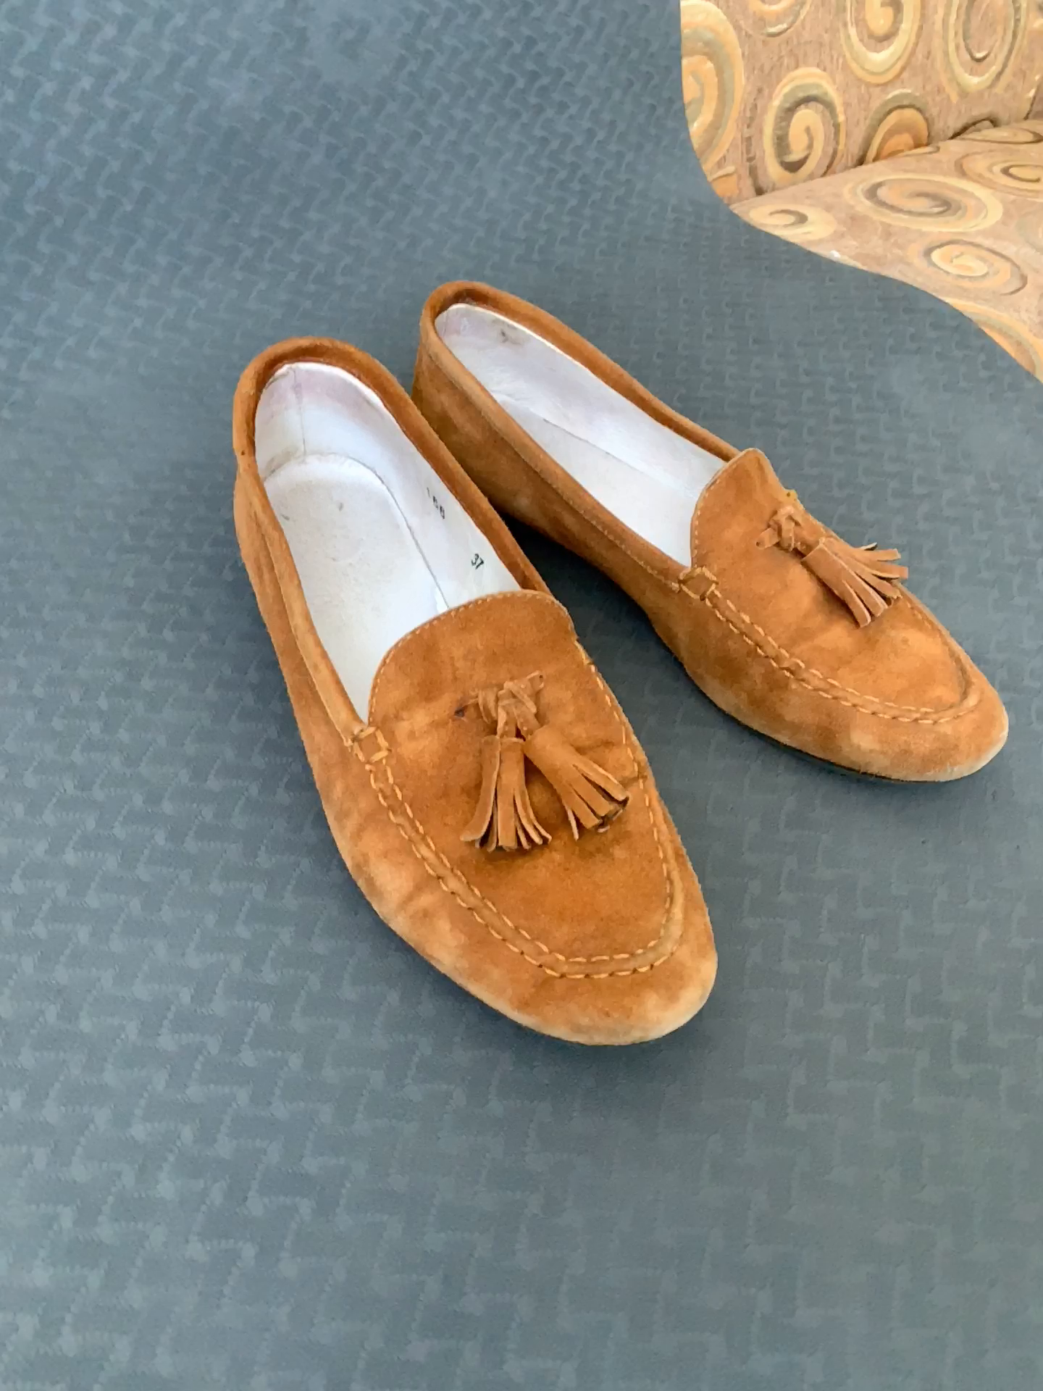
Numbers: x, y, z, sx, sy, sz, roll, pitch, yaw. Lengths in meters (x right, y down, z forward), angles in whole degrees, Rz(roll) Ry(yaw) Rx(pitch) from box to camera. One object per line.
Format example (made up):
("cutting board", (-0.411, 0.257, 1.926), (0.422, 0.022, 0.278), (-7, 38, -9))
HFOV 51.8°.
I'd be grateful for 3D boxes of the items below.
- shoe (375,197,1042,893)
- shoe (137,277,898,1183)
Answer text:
("shoe", (0.064, -0.062, 0.363), (0.240, 0.090, 0.090), (40, 58, 22))
("shoe", (-0.020, -0.007, 0.299), (0.090, 0.090, 0.231), (-20, 57, -21))
